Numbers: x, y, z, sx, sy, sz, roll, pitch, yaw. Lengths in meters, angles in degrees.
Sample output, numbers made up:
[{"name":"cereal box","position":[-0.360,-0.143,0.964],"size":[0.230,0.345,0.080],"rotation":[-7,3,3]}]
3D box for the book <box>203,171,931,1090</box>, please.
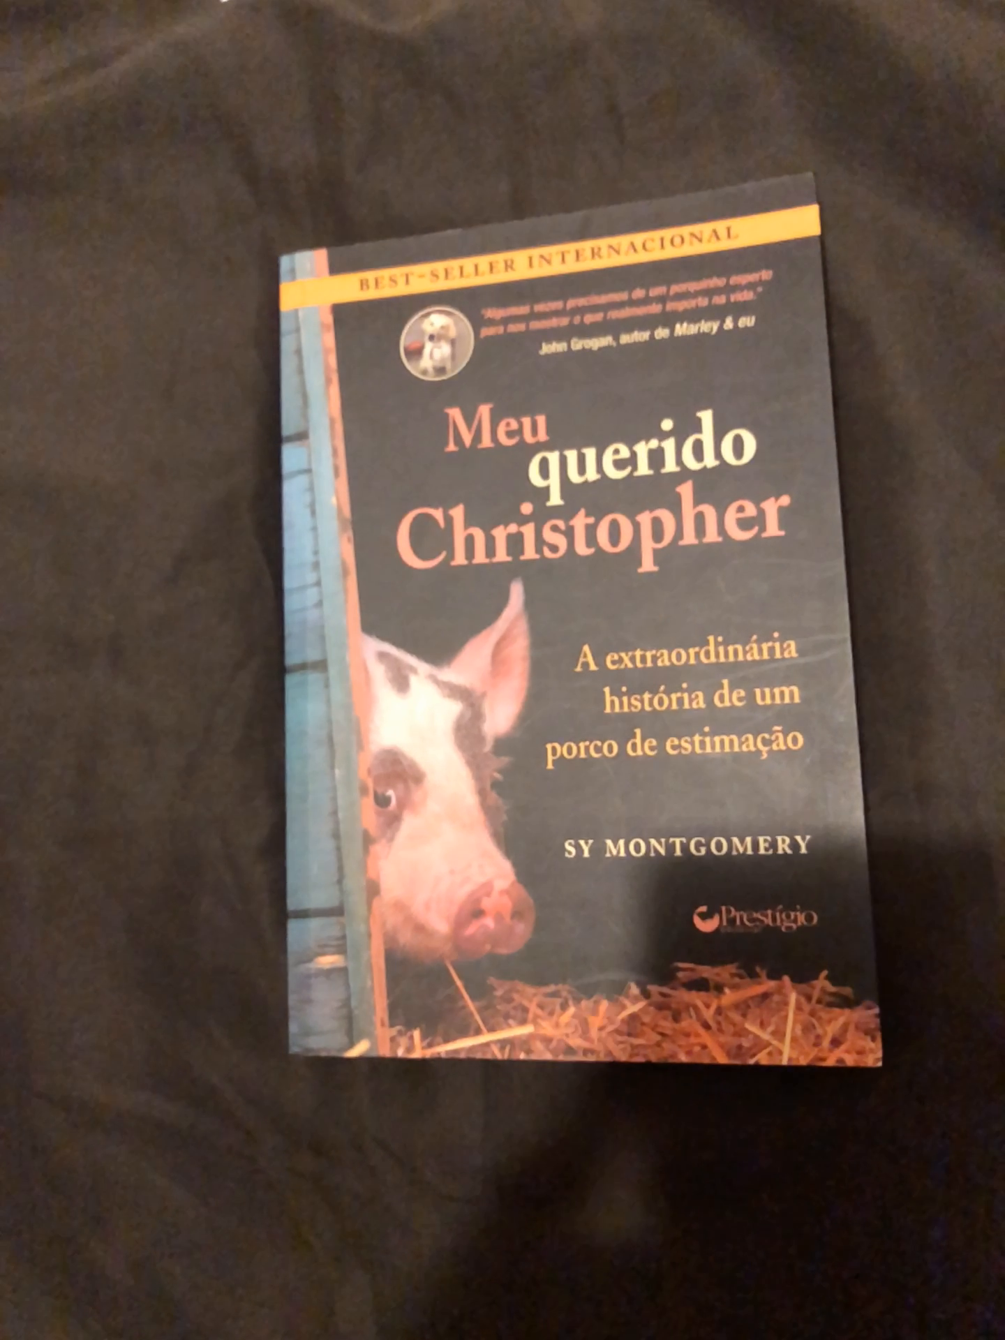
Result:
[{"name":"book","position":[0.009,-0.008,0.292],"size":[0.170,0.020,0.220],"rotation":[-5,83,10]}]
